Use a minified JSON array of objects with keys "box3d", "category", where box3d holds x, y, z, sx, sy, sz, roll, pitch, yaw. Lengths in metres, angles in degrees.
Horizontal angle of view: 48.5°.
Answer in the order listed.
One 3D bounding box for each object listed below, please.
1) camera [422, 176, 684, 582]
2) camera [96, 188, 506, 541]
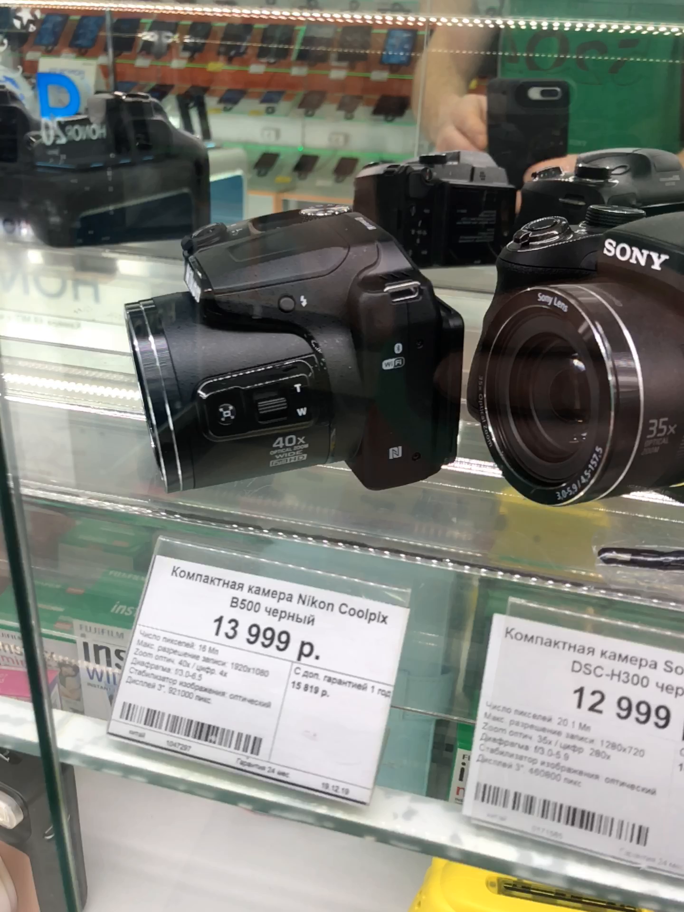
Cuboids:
[{"box3d":[0.097,-0.037,0.240,0.098,0.084,0.115,-10,27,-20],"category":"camera"},{"box3d":[-0.022,-0.042,0.258,0.098,0.080,0.110,-8,28,-22],"category":"camera"}]
